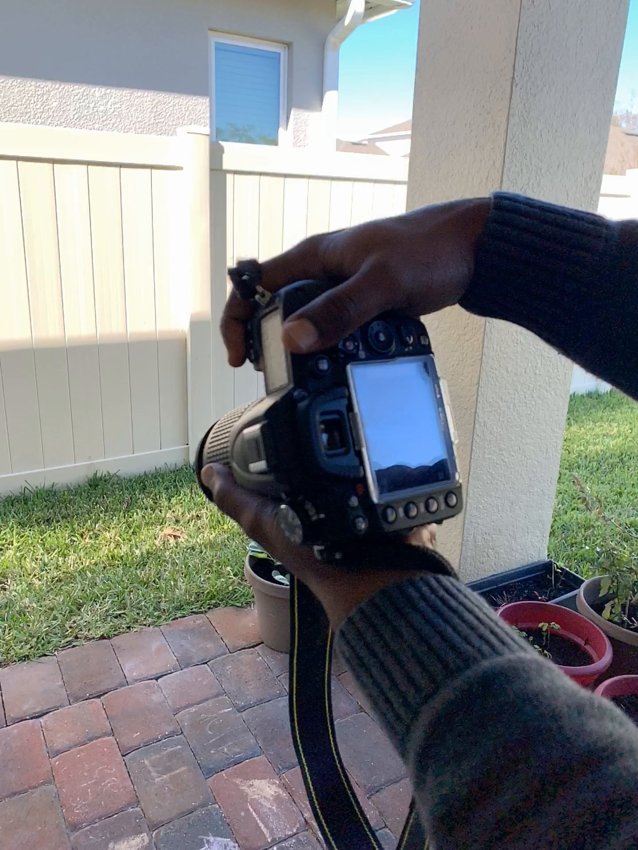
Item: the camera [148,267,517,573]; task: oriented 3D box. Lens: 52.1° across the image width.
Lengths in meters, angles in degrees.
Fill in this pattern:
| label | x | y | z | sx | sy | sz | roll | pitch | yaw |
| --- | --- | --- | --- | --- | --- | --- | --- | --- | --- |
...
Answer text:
| label | x | y | z | sx | sy | sz | roll | pitch | yaw |
| --- | --- | --- | --- | --- | --- | --- | --- | --- | --- |
| camera | -0.006 | -0.001 | 0.329 | 0.090 | 0.110 | 0.170 | -9 | 0 | -33 |
